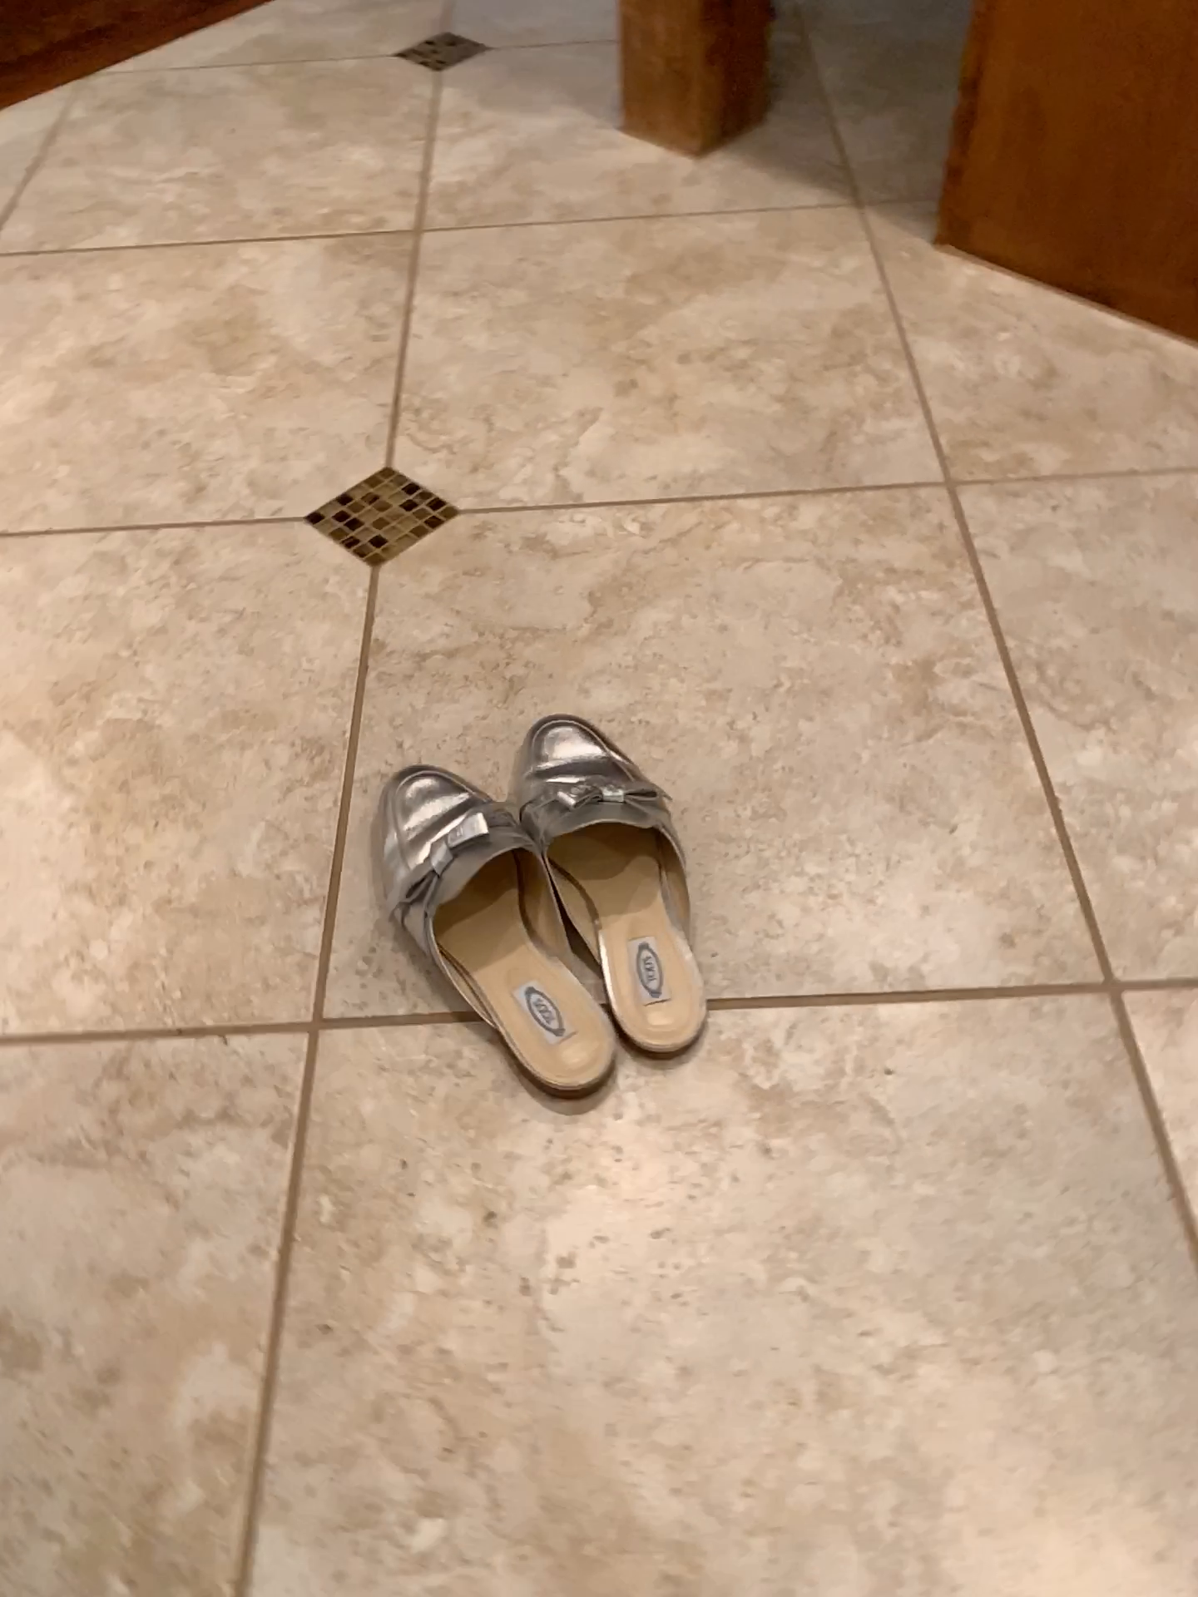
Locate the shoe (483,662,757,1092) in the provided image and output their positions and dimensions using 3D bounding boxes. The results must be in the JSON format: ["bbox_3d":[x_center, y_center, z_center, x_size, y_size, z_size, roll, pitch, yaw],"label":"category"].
[{"bbox_3d":[0.007,0.041,0.816,0.101,0.077,0.278,-14,52,-8],"label":"shoe"}]

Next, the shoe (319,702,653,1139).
[{"bbox_3d":[-0.078,0.068,0.794,0.091,0.077,0.281,-26,54,-16],"label":"shoe"}]
